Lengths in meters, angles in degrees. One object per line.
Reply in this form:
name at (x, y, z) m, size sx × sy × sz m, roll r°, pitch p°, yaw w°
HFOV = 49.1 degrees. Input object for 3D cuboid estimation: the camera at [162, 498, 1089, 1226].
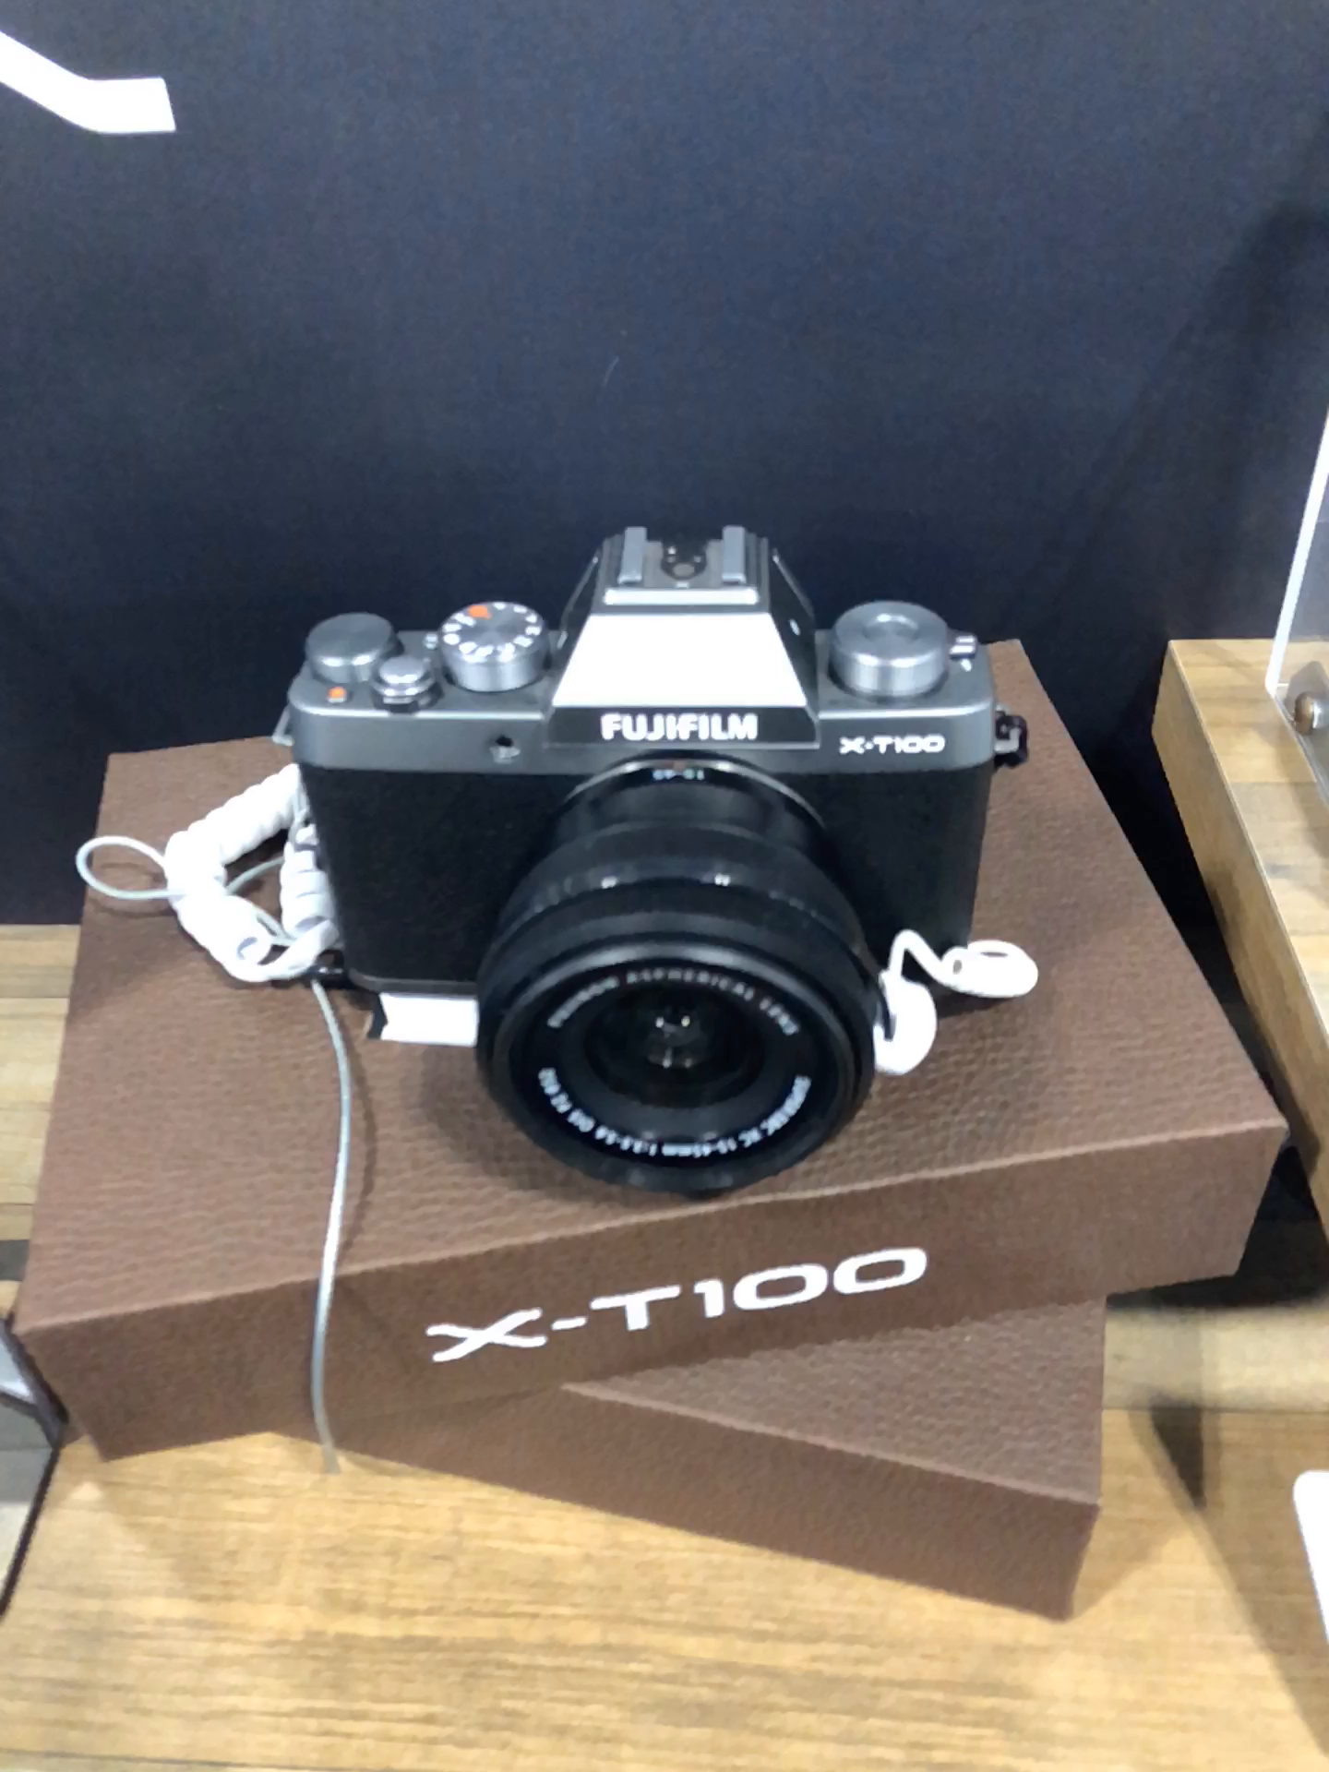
camera at (-0.002, -0.007, 0.270) m, size 0.130 × 0.089 × 0.101 m, roll 0°, pitch 38°, yaw 5°
